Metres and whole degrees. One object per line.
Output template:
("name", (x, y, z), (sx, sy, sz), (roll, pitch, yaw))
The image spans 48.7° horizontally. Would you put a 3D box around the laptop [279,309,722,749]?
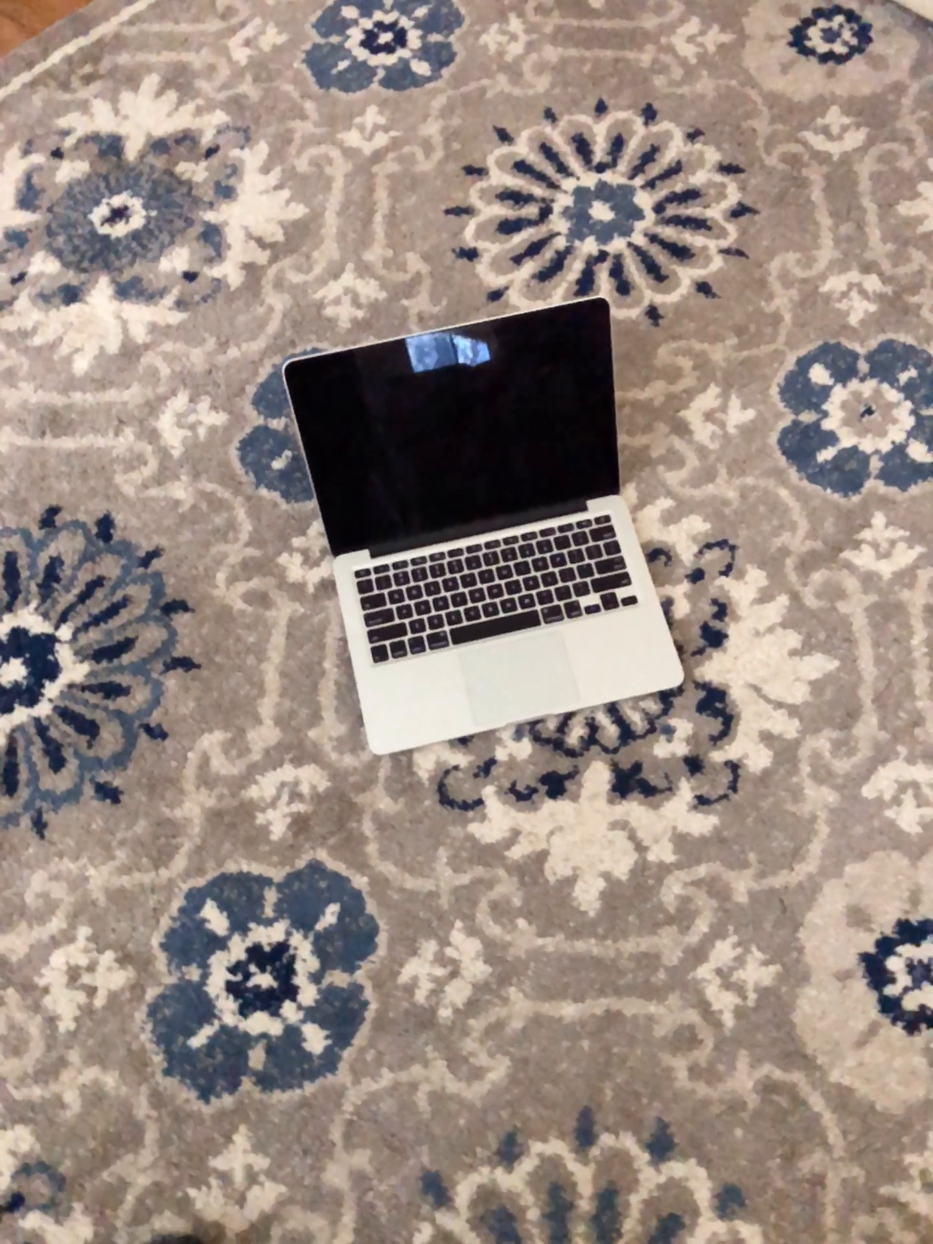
("laptop", (0.020, -0.087, 0.956), (0.300, 0.171, 0.322), (-13, 66, -5))
